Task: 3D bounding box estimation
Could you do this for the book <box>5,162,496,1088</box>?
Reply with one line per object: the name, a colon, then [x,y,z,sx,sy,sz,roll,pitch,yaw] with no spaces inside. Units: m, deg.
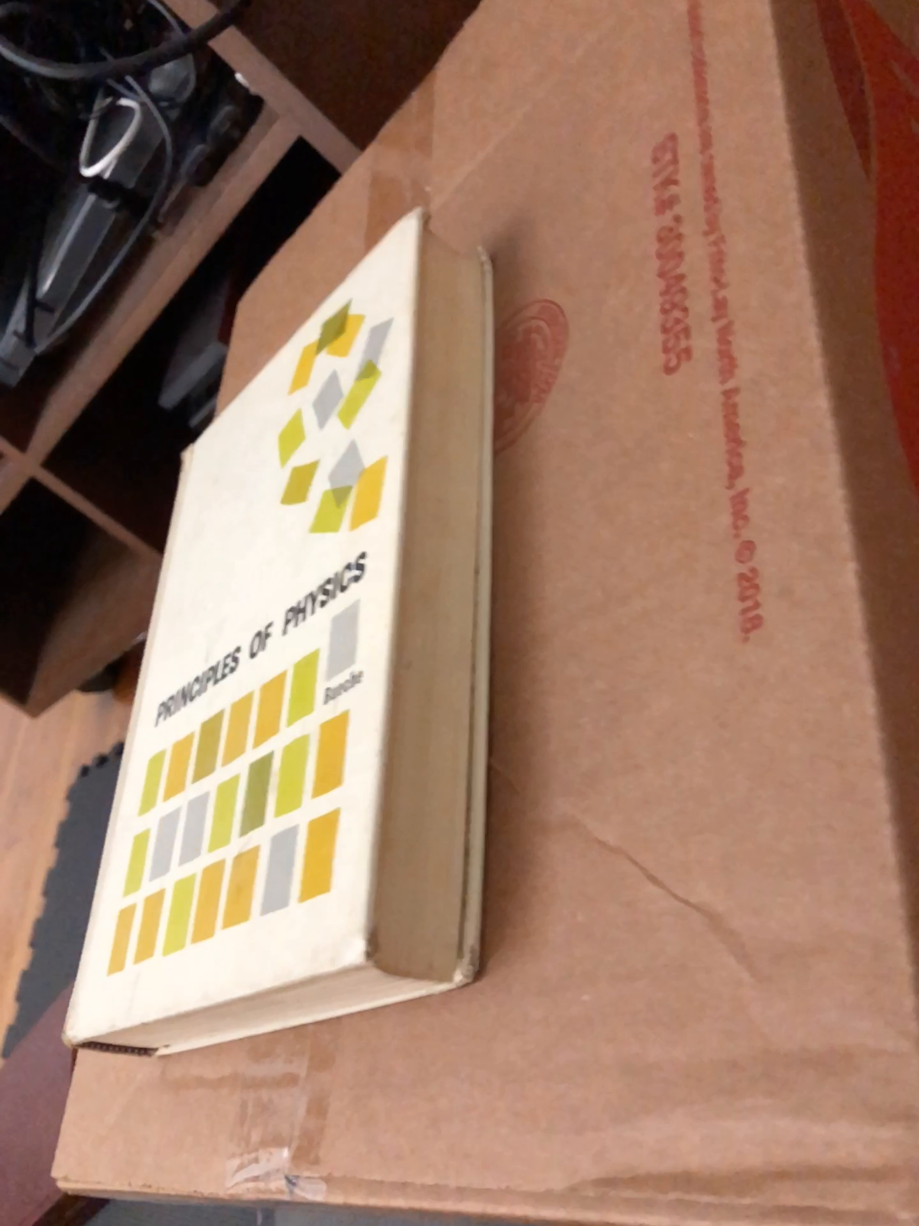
book: [-0.064,0.008,0.328,0.181,0.040,0.251,-31,46,43]
